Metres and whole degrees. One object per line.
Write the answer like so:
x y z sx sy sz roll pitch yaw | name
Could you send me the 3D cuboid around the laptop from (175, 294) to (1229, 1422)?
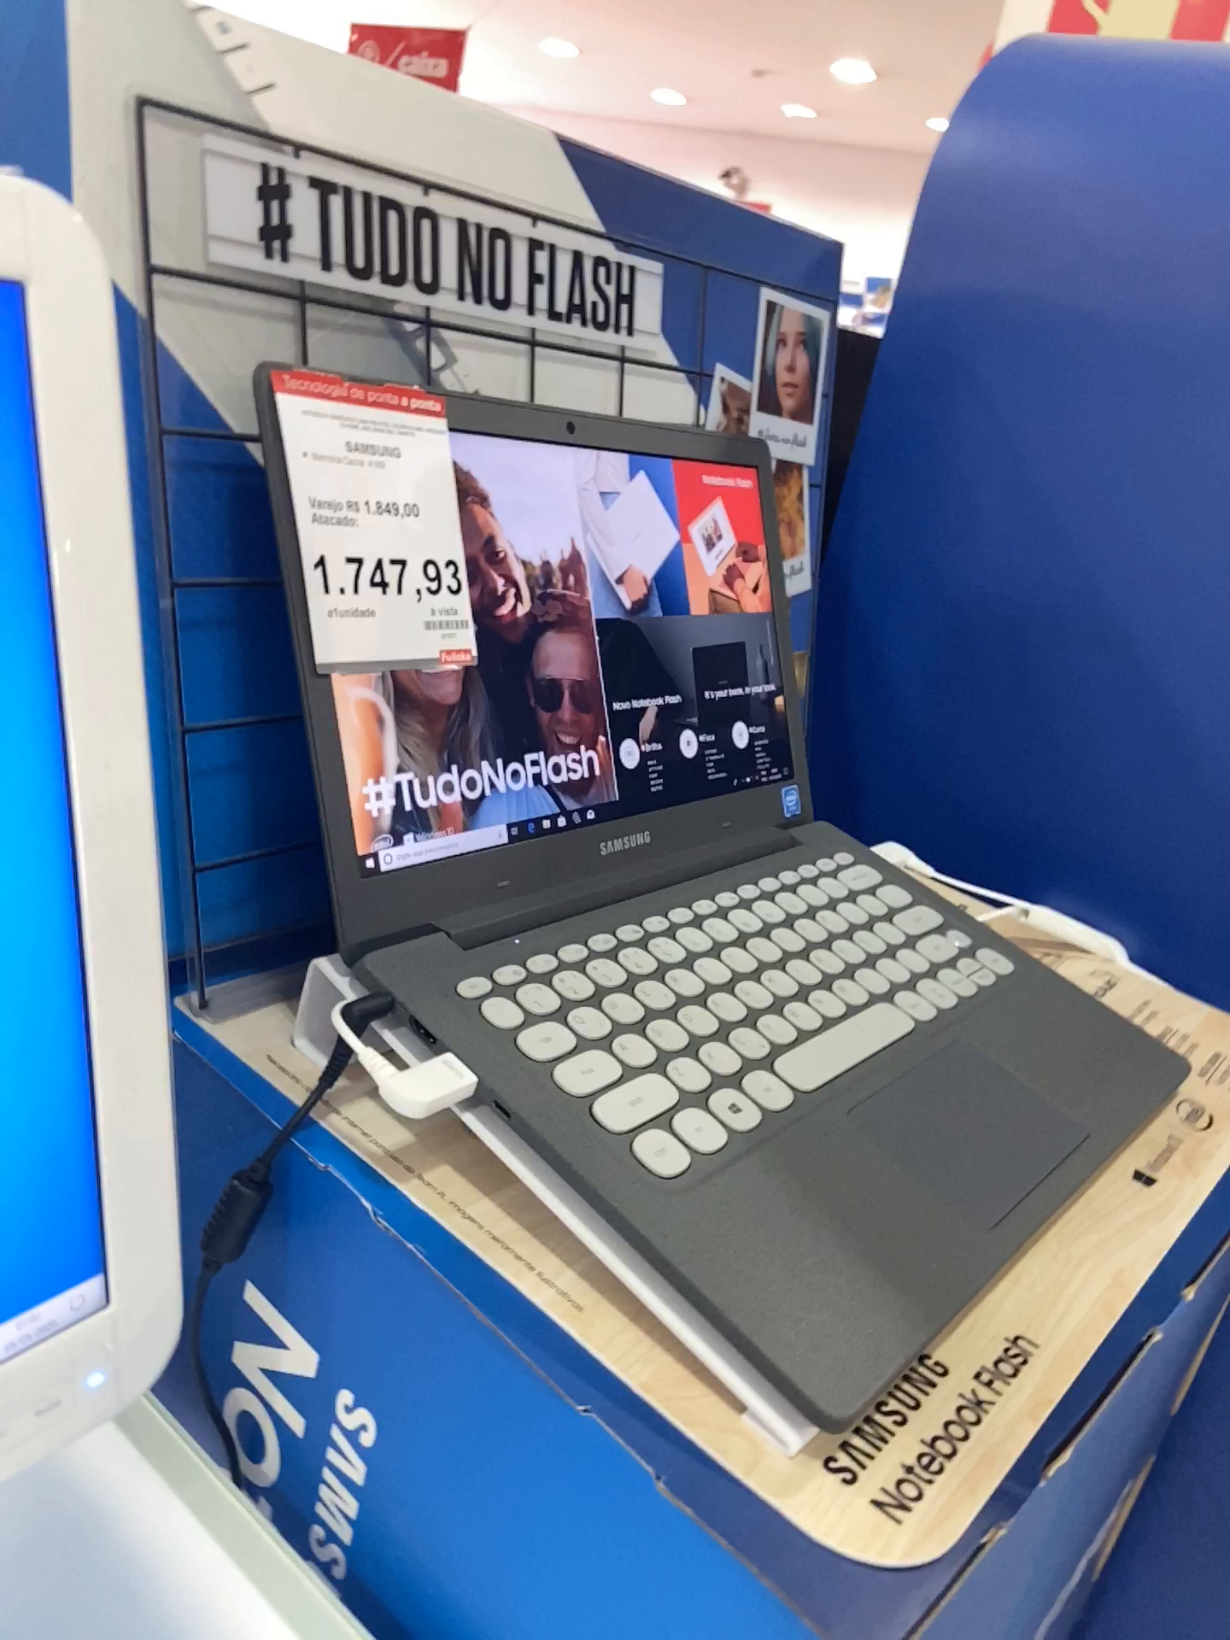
0.063 -0.036 0.515 0.344 0.181 0.323 34 29 31 | laptop
